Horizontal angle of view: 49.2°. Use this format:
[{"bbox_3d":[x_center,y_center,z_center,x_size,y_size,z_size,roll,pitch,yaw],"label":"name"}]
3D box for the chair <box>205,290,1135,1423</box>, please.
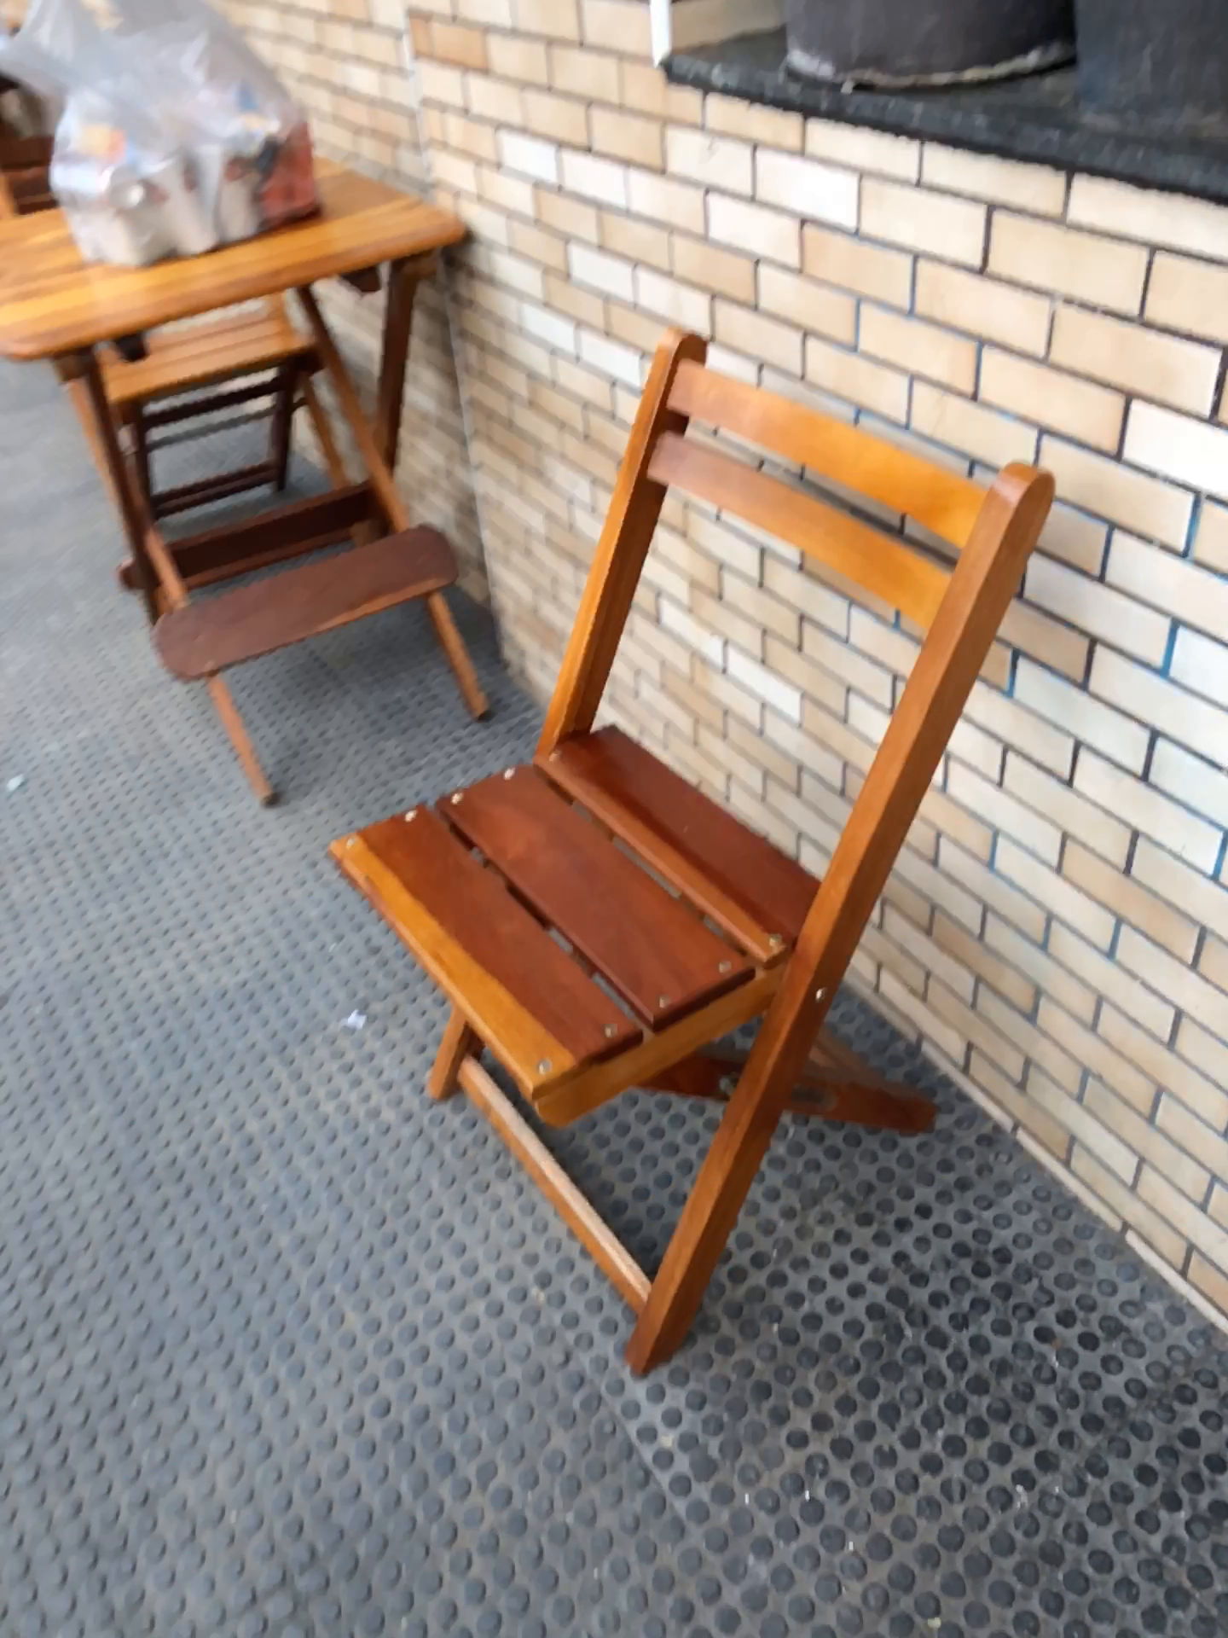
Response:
[{"bbox_3d":[0.047,0.028,1.212,0.491,0.764,0.473,-26,44,-24],"label":"chair"}]
